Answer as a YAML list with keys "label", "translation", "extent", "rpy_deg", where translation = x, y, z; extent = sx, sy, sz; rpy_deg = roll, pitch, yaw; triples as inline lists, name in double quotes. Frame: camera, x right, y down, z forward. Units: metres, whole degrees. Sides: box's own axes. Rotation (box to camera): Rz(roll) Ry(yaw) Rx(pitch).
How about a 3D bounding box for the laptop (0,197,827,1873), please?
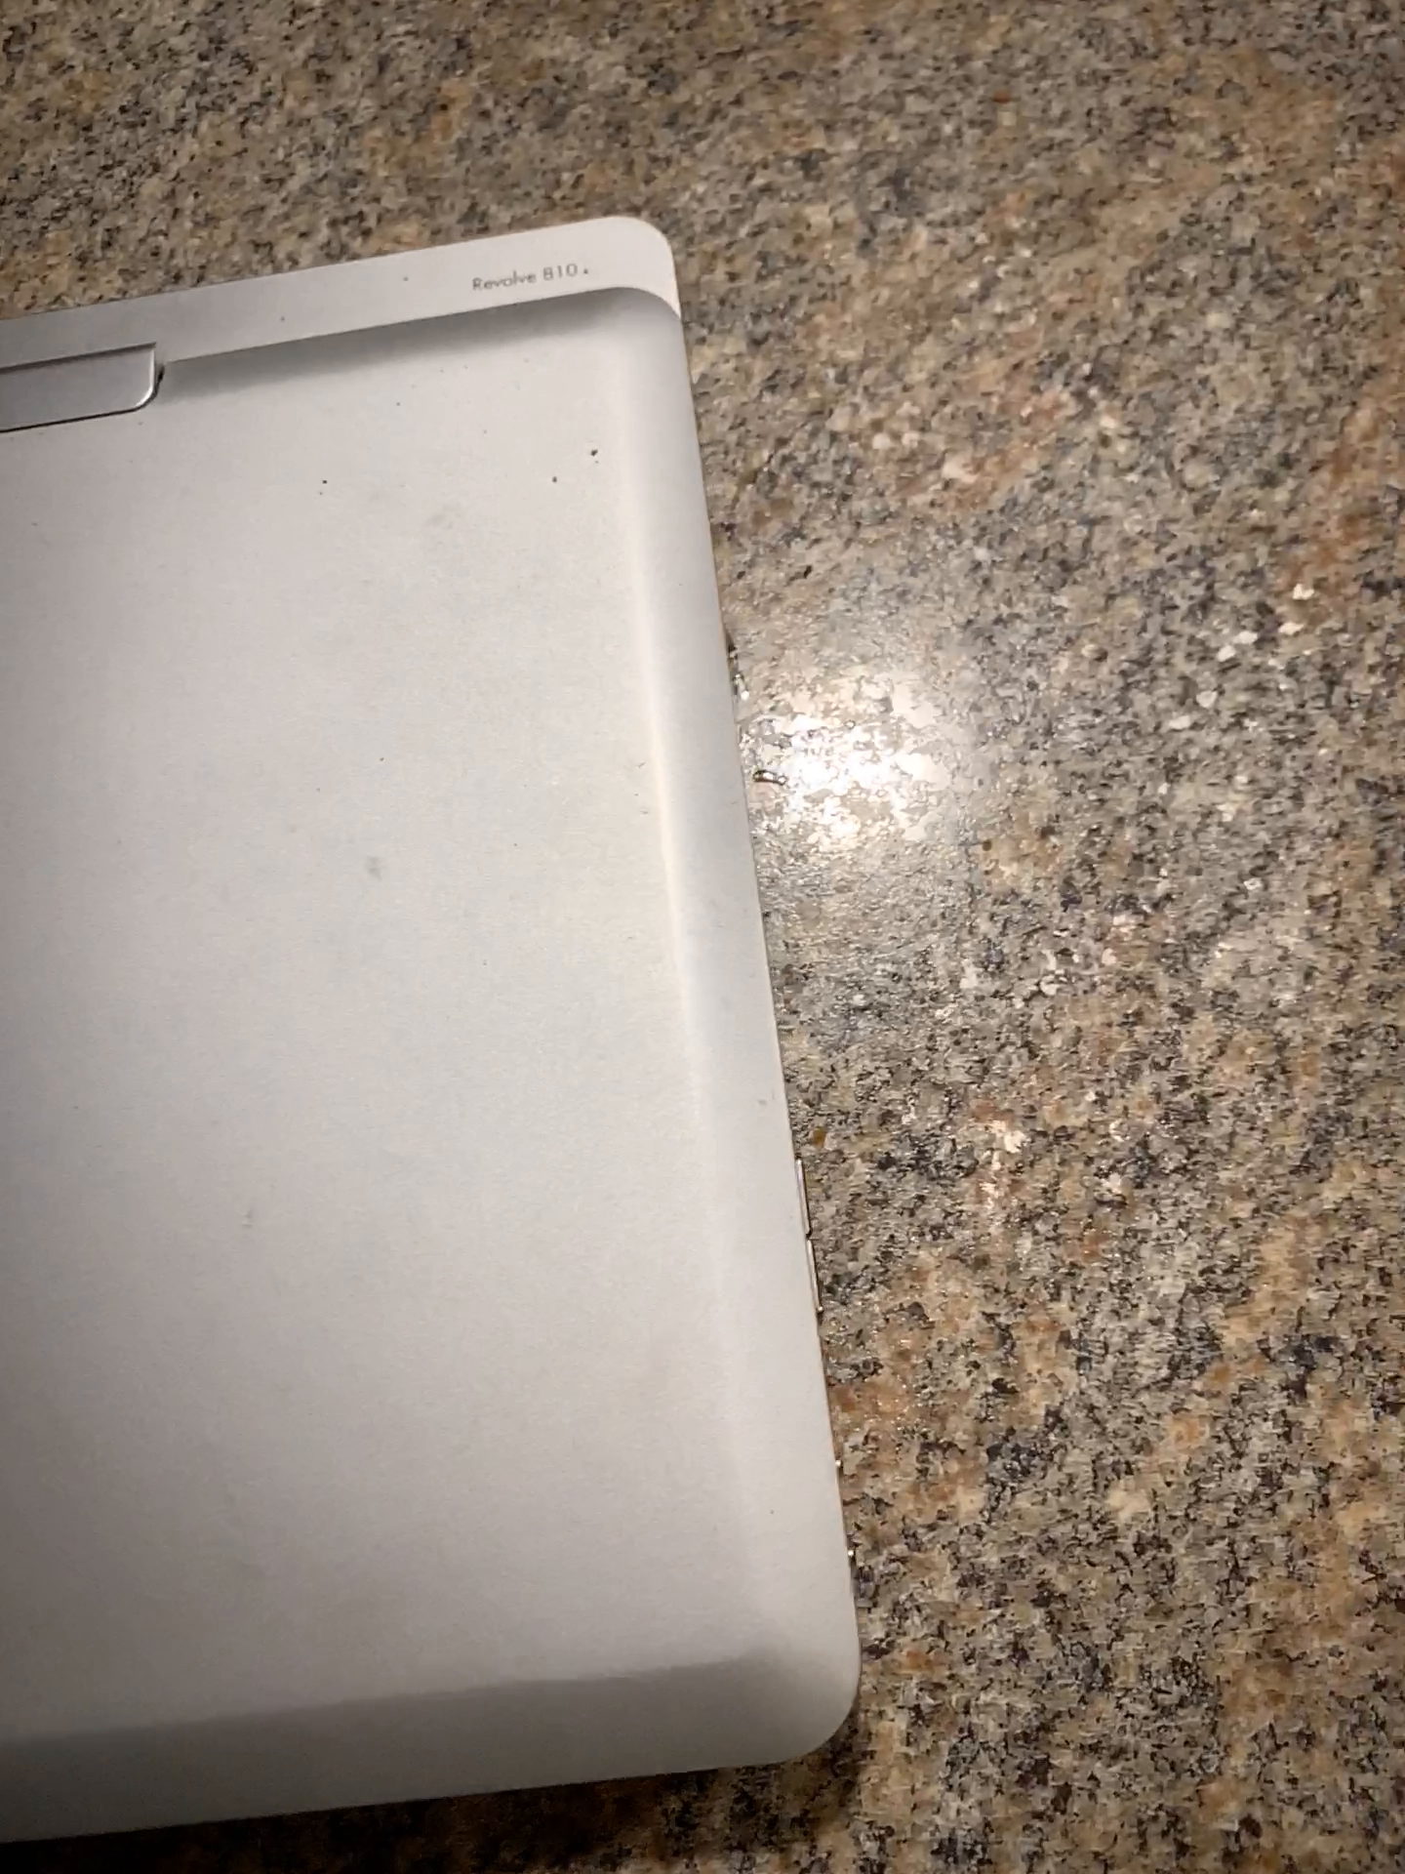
- label: "laptop"
  translation: [-0.131, 0.006, 0.182]
  extent: [0.267, 0.005, 0.194]
  rpy_deg: [-8, 70, 3]
